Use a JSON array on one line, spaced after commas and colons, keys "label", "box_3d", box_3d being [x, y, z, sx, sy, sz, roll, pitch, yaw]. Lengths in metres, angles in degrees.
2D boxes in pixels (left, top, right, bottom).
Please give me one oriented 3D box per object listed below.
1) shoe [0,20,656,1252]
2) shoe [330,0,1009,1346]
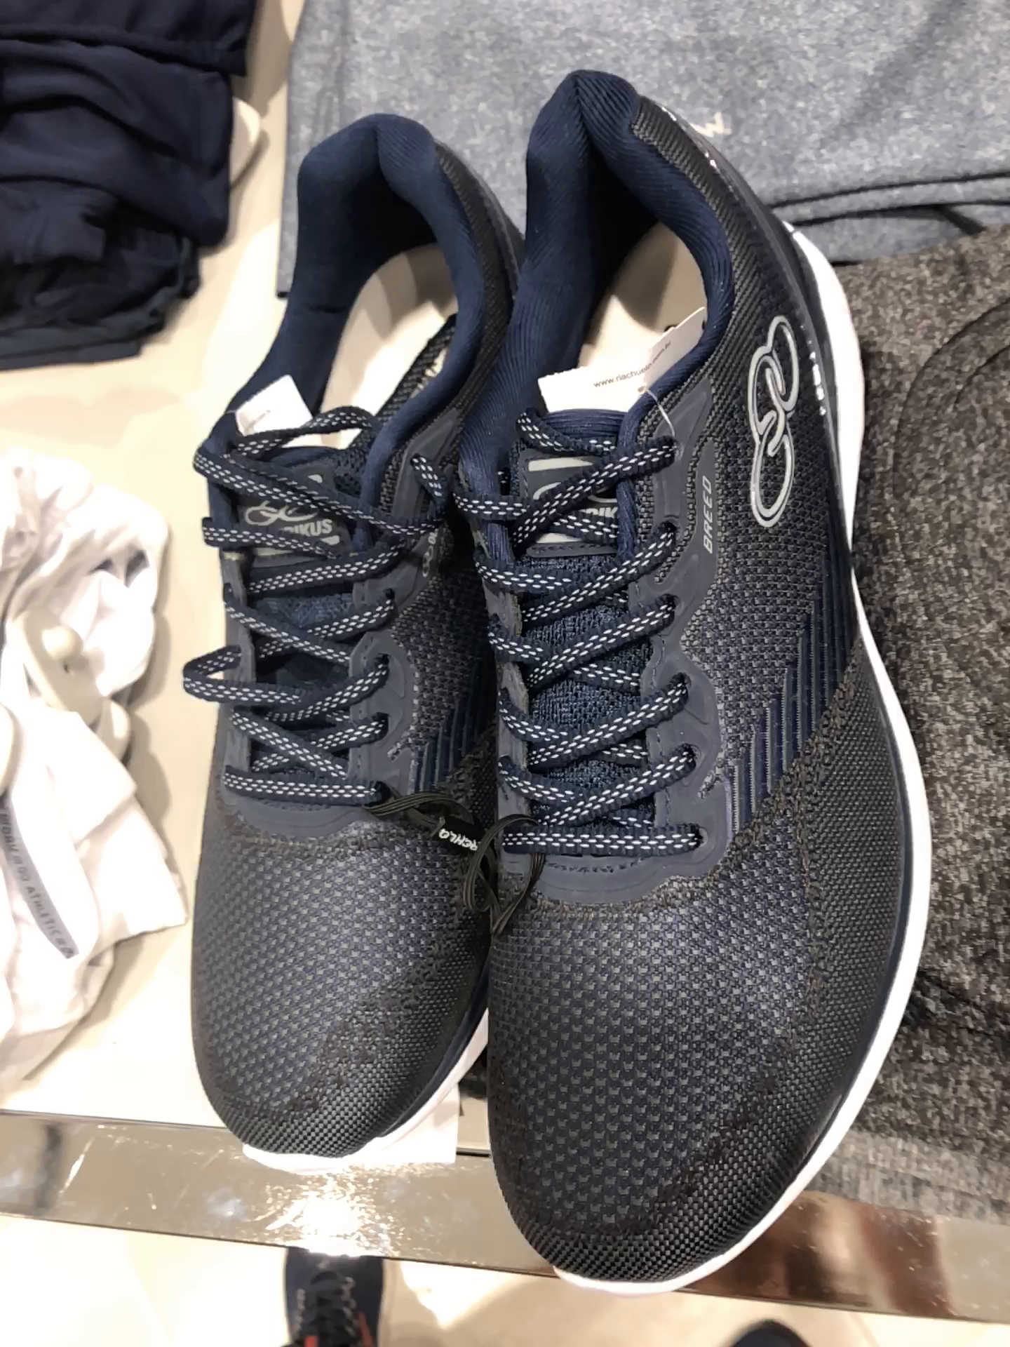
[{"label": "shoe", "box_3d": [-0.039, -0.012, 0.337, 0.120, 0.130, 0.290, 2, 78, 20]}, {"label": "shoe", "box_3d": [0.051, -0.003, 0.296, 0.120, 0.130, 0.290, -7, 75, 34]}]
